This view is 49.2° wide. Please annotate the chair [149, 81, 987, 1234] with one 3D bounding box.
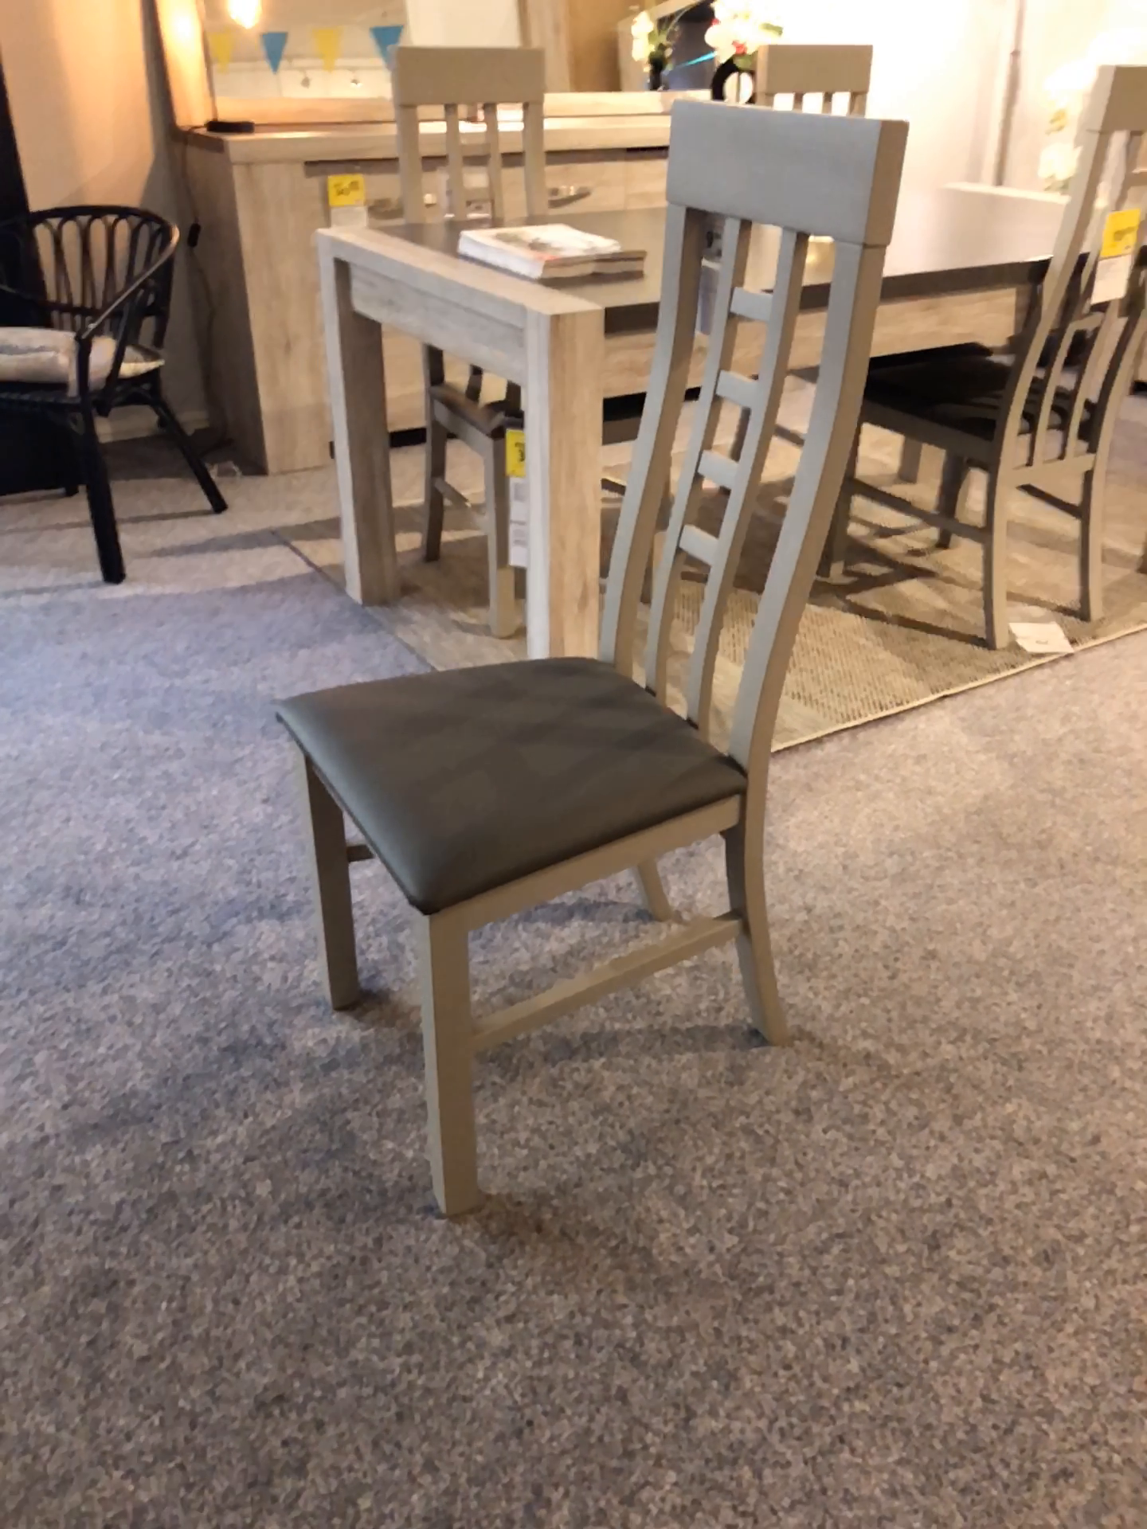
[{"bbox_3d":[-0.036,-0.140,1.332,0.552,1.014,0.511,-14,33,-24],"label":"chair"}]
